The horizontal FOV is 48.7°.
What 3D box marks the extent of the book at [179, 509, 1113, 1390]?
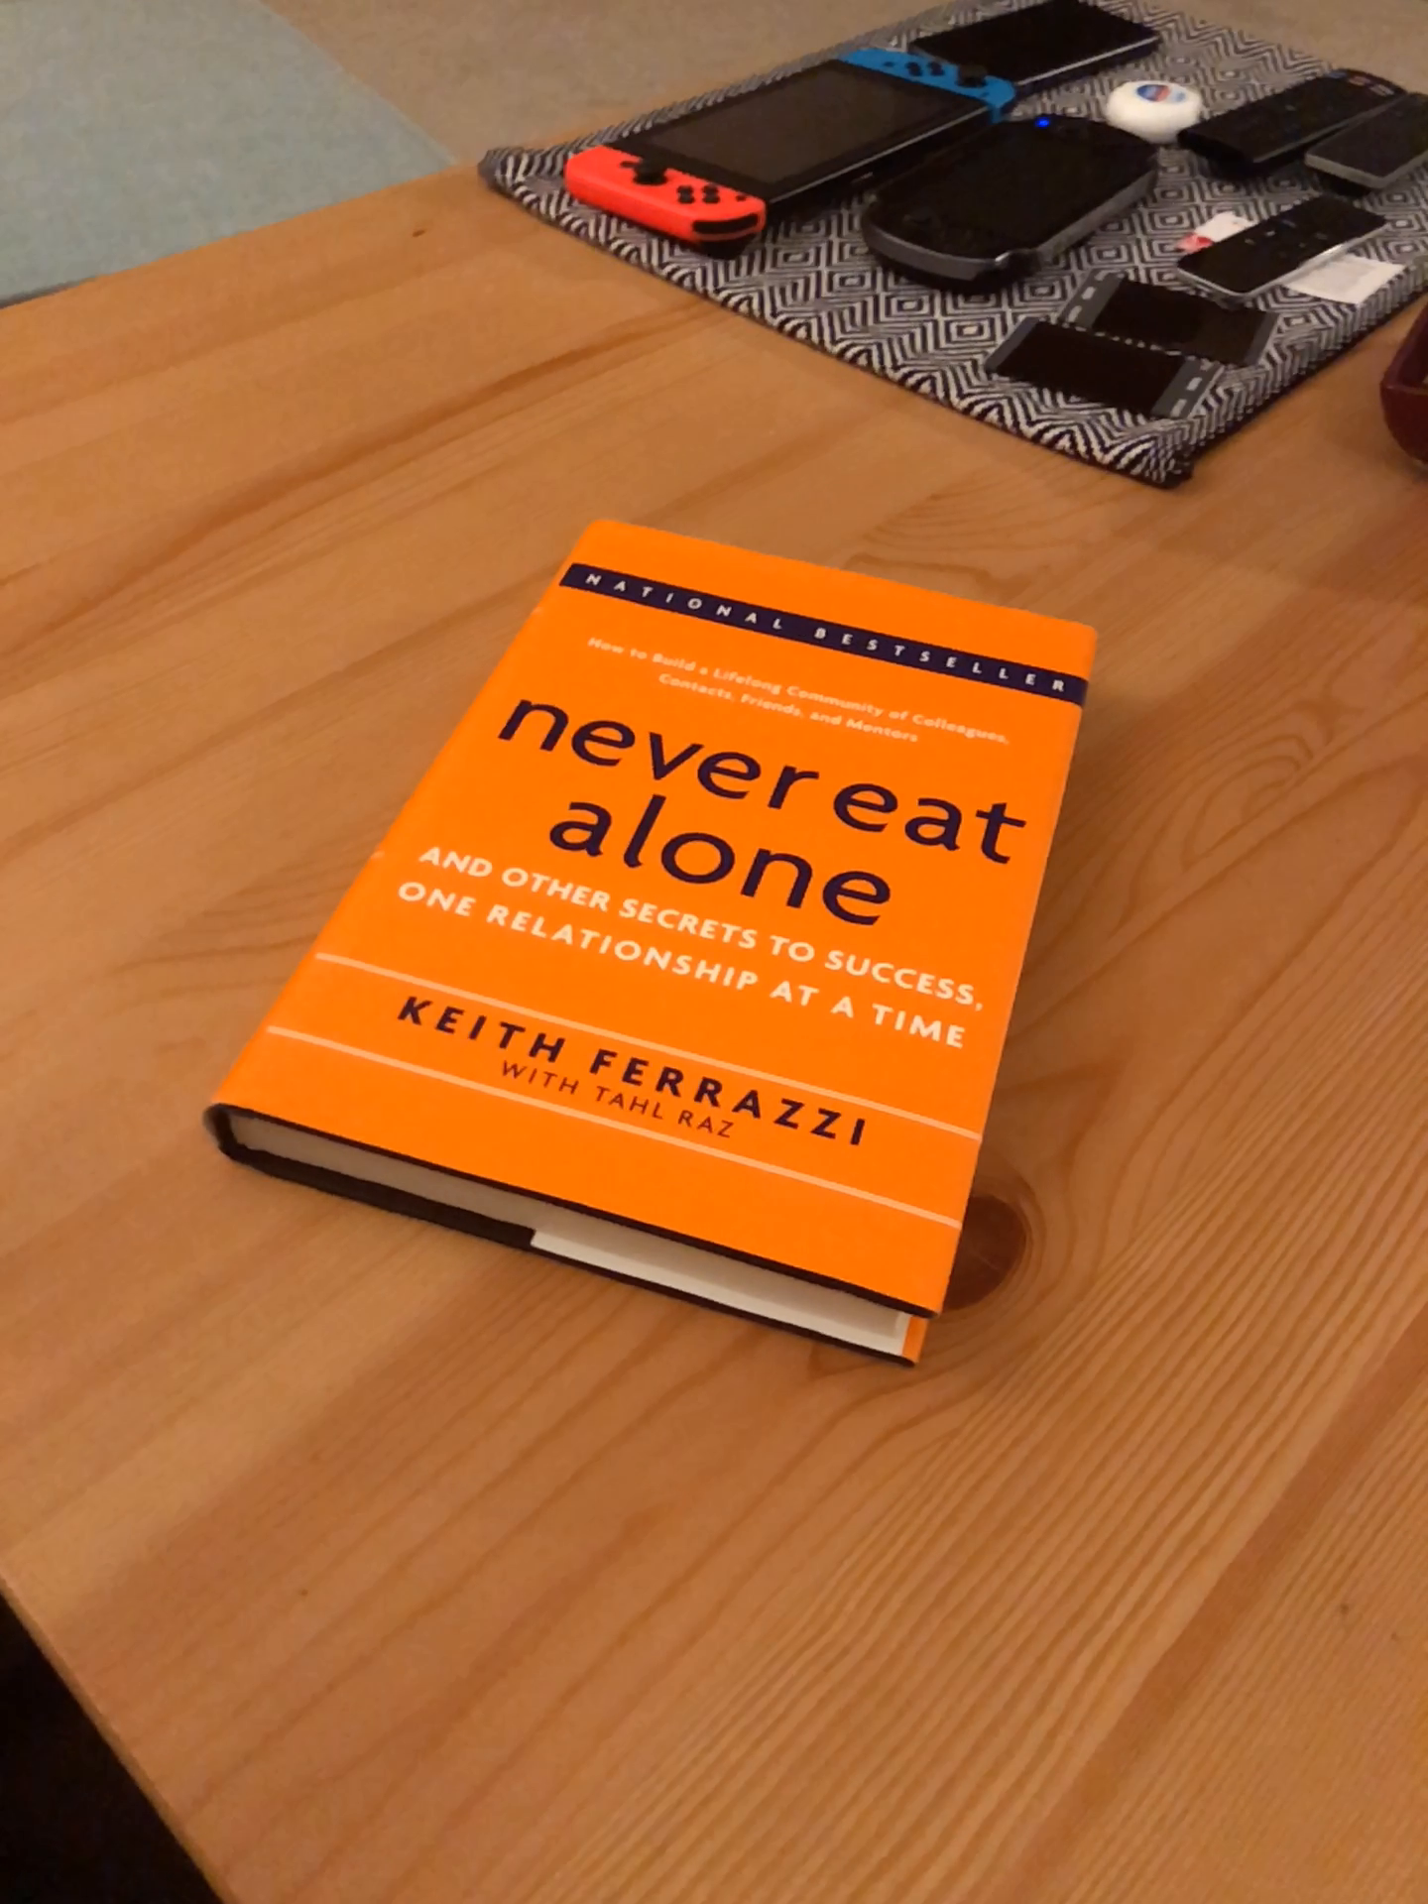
[{"bbox_3d":[0.002,-0.024,0.406,0.166,0.025,0.241,15,48,9],"label":"book"}]
